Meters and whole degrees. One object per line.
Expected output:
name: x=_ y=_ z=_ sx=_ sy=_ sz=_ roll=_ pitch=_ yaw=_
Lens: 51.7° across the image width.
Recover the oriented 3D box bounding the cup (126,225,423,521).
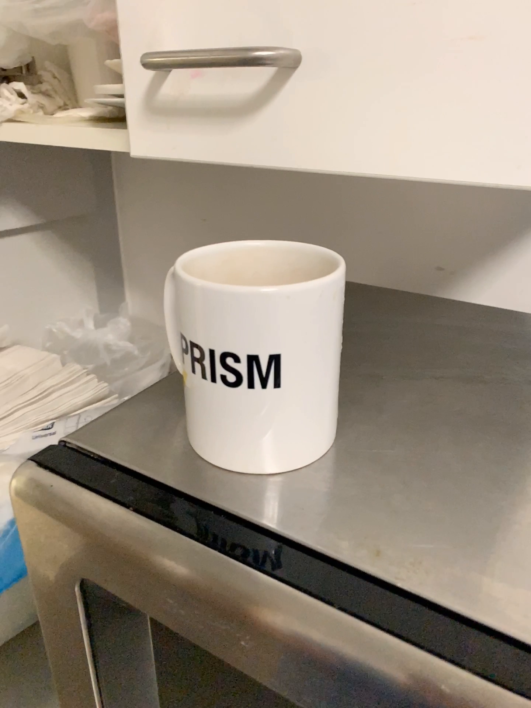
cup: x=0.001 y=-0.003 z=0.288 sx=0.094 sy=0.099 sz=0.114 roll=-19 pitch=30 yaw=-37
